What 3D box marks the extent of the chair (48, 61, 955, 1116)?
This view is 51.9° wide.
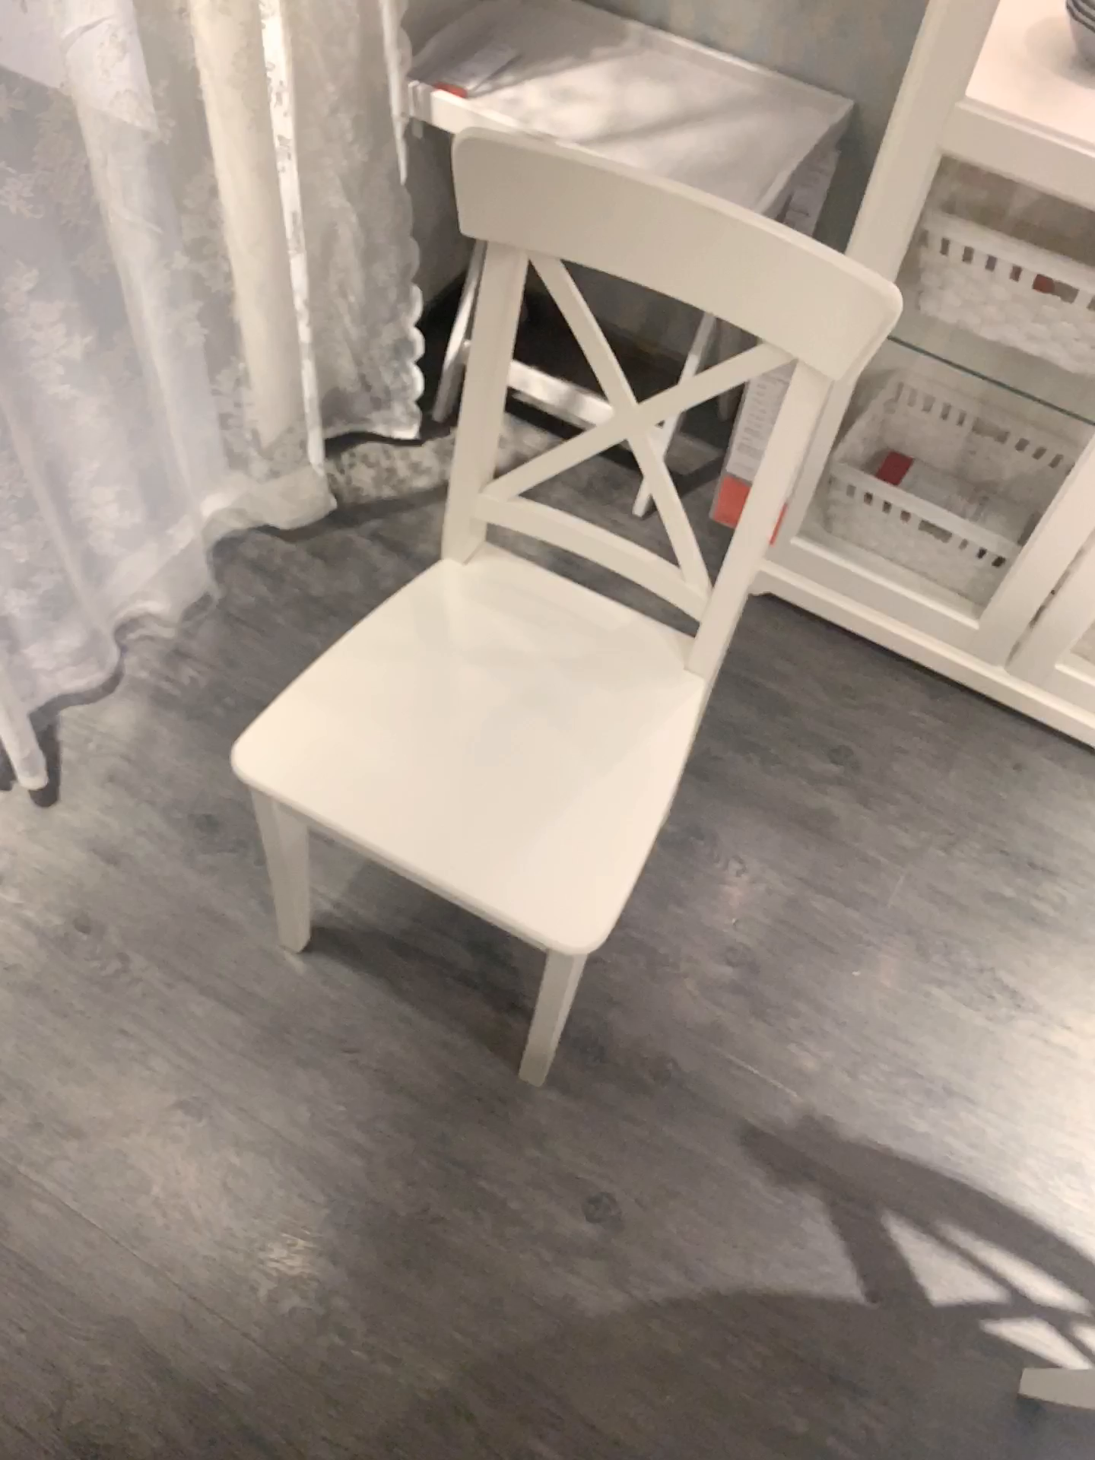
[{"bbox_3d":[-0.033,-0.059,1.133,0.440,0.858,0.491,27,58,12],"label":"chair"}]
